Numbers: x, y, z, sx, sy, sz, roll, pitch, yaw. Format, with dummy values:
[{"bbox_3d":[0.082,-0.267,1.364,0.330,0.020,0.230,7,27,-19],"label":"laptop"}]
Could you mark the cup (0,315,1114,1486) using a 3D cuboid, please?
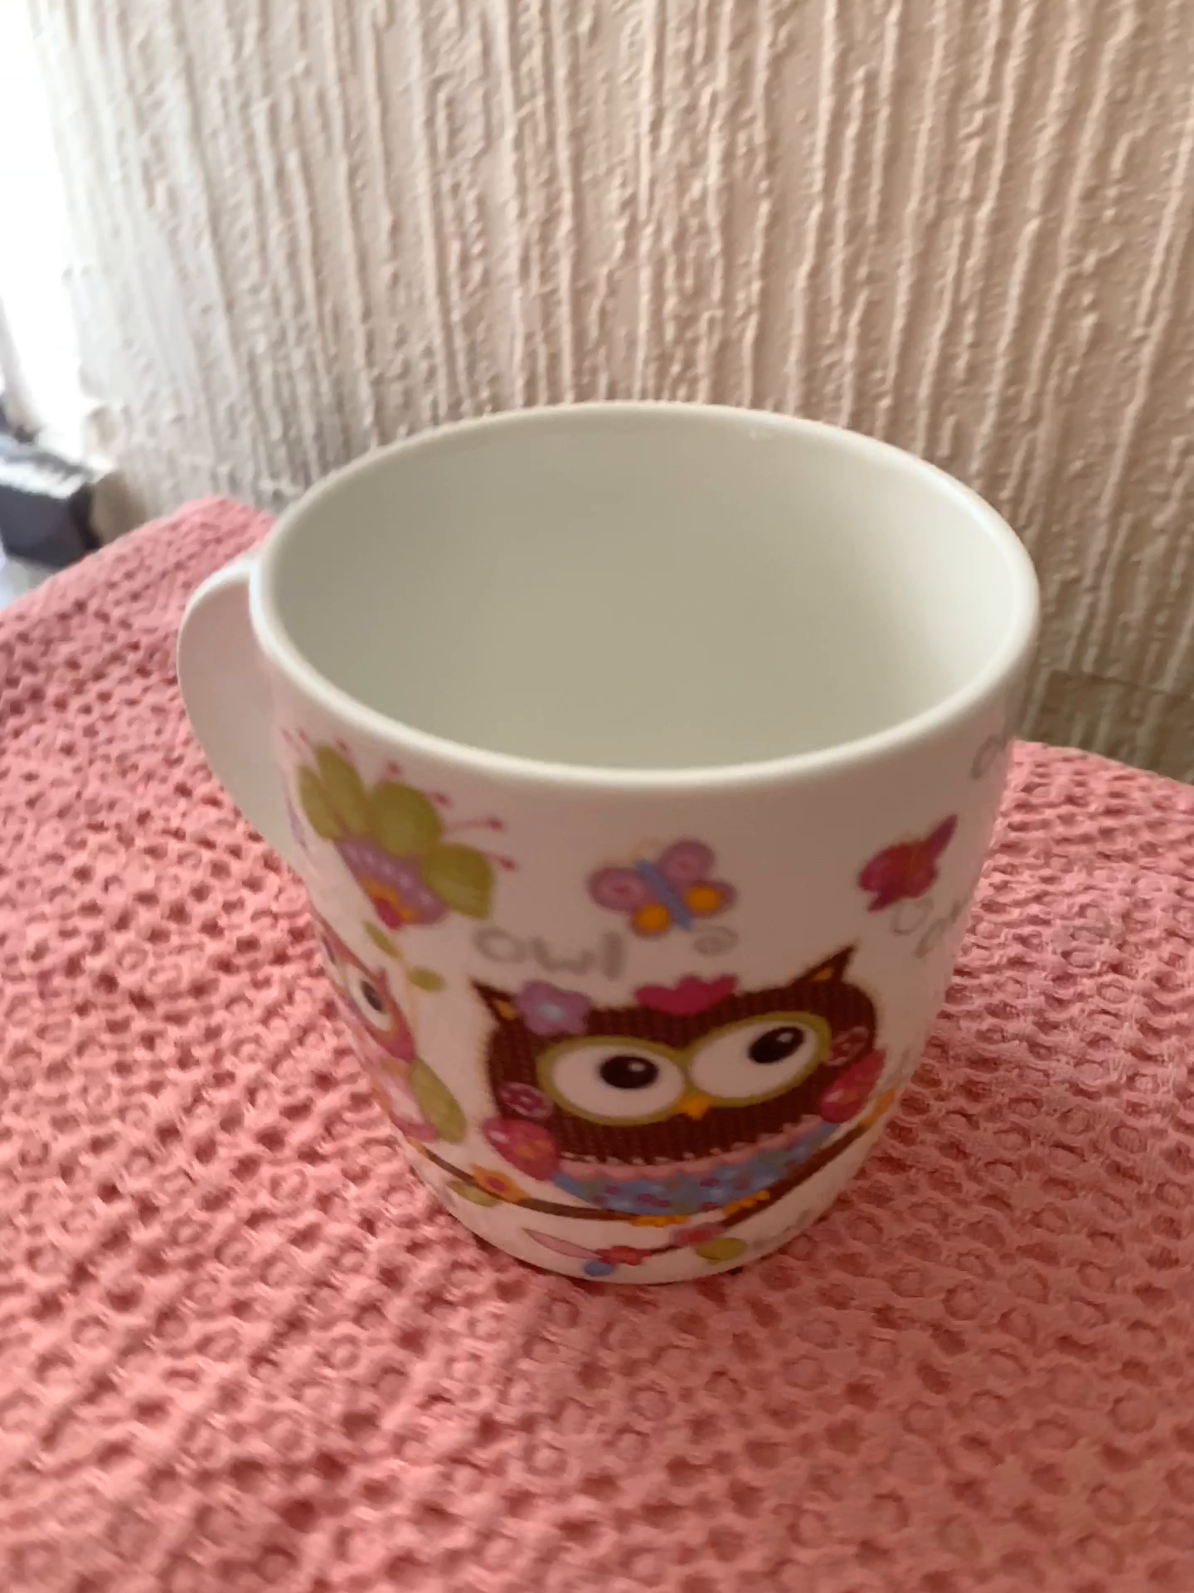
[{"bbox_3d":[-0.012,0.002,0.174,0.120,0.089,0.091,22,44,25],"label":"cup"}]
